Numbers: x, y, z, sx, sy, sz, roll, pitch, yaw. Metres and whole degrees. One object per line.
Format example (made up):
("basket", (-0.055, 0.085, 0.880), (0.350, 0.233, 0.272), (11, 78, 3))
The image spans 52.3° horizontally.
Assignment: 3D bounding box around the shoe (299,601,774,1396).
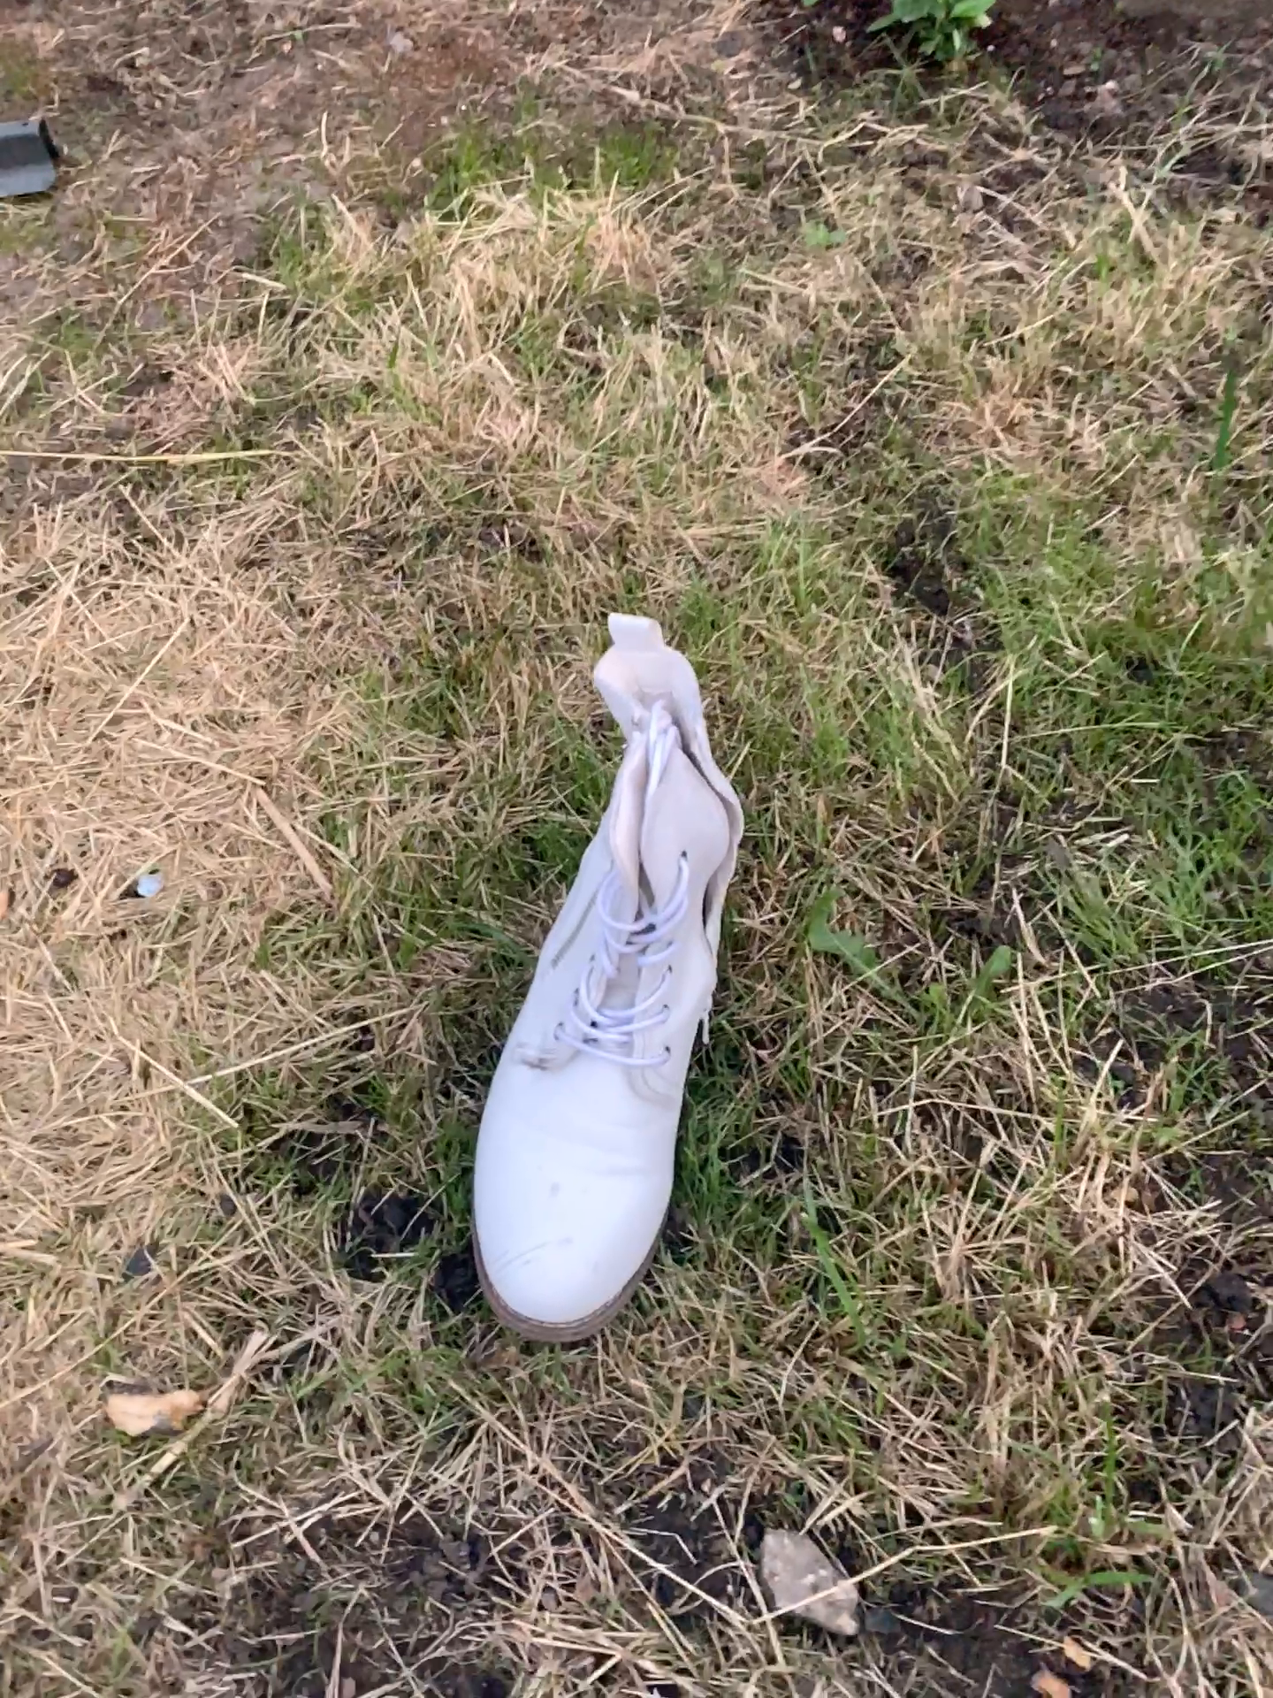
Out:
("shoe", (-0.017, 0.058, 0.539), (0.100, 0.178, 0.262), (9, 55, 12))
